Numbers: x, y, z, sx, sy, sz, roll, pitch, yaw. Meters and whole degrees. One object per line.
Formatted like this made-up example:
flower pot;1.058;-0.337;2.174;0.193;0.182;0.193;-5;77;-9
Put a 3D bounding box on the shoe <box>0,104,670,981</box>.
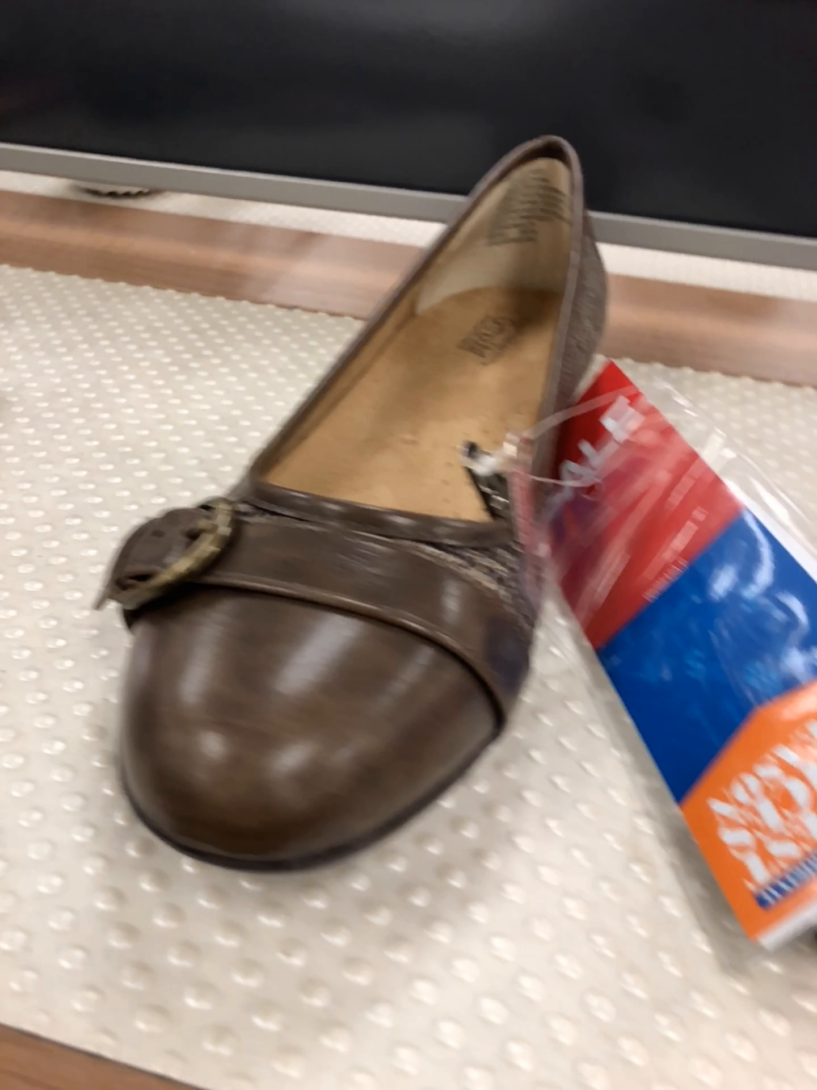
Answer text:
shoe;0.006;-0.046;0.248;0.092;0.080;0.280;12;37;12
